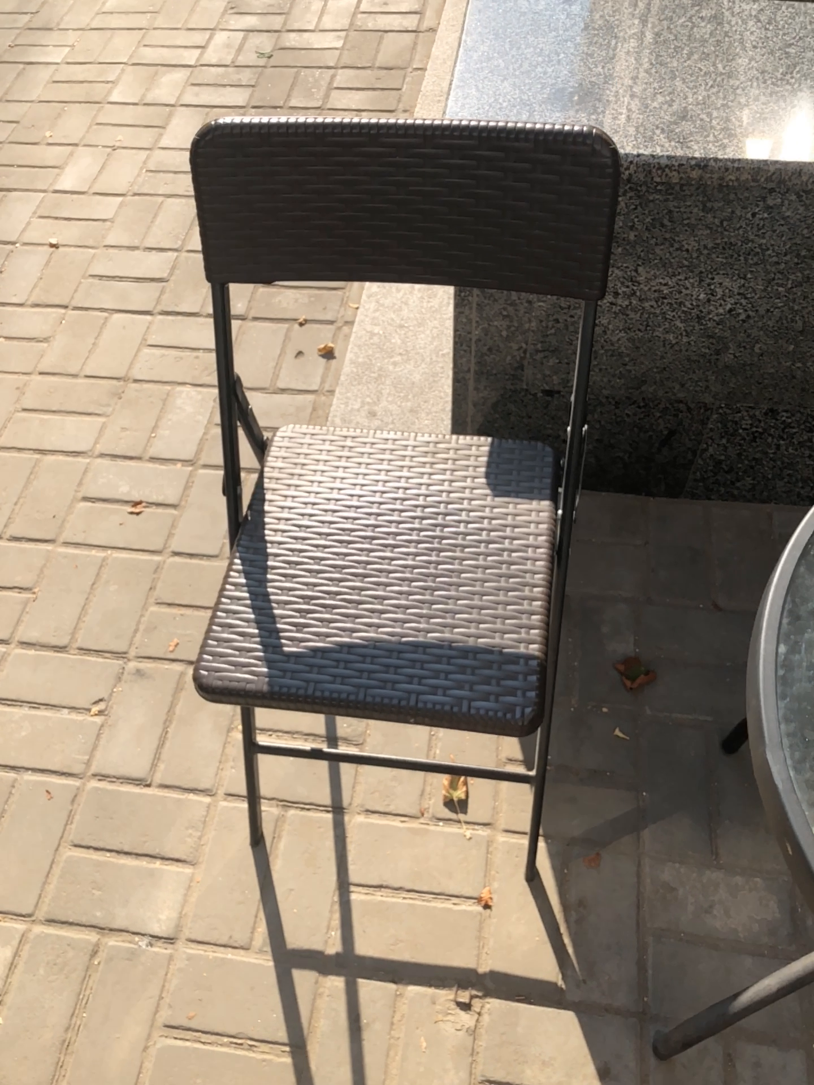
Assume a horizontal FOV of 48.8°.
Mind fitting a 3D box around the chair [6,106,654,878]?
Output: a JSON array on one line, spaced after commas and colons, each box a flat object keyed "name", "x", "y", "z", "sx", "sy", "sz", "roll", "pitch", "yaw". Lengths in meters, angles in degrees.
[{"name": "chair", "x": -0.015, "y": 0.011, "z": 1.040, "sx": 0.430, "sy": 0.778, "sz": 0.481, "roll": 5, "pitch": 55, "yaw": 6}]
